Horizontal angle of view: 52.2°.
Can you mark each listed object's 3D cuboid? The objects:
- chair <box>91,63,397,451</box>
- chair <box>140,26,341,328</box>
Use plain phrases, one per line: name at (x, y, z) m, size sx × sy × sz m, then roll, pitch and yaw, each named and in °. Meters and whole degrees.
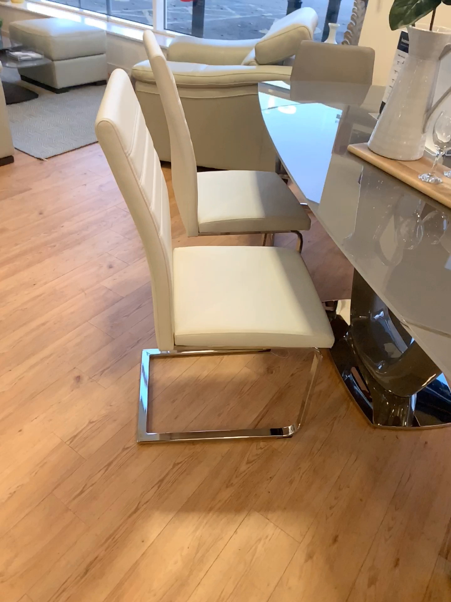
chair at (-0.020, -0.066, 1.240) m, size 0.535 × 0.922 × 0.426 m, roll -1°, pitch 39°, yaw -9°
chair at (-0.017, -0.418, 1.690) m, size 0.525 × 0.932 × 0.436 m, roll -4°, pitch 40°, yaw -13°
